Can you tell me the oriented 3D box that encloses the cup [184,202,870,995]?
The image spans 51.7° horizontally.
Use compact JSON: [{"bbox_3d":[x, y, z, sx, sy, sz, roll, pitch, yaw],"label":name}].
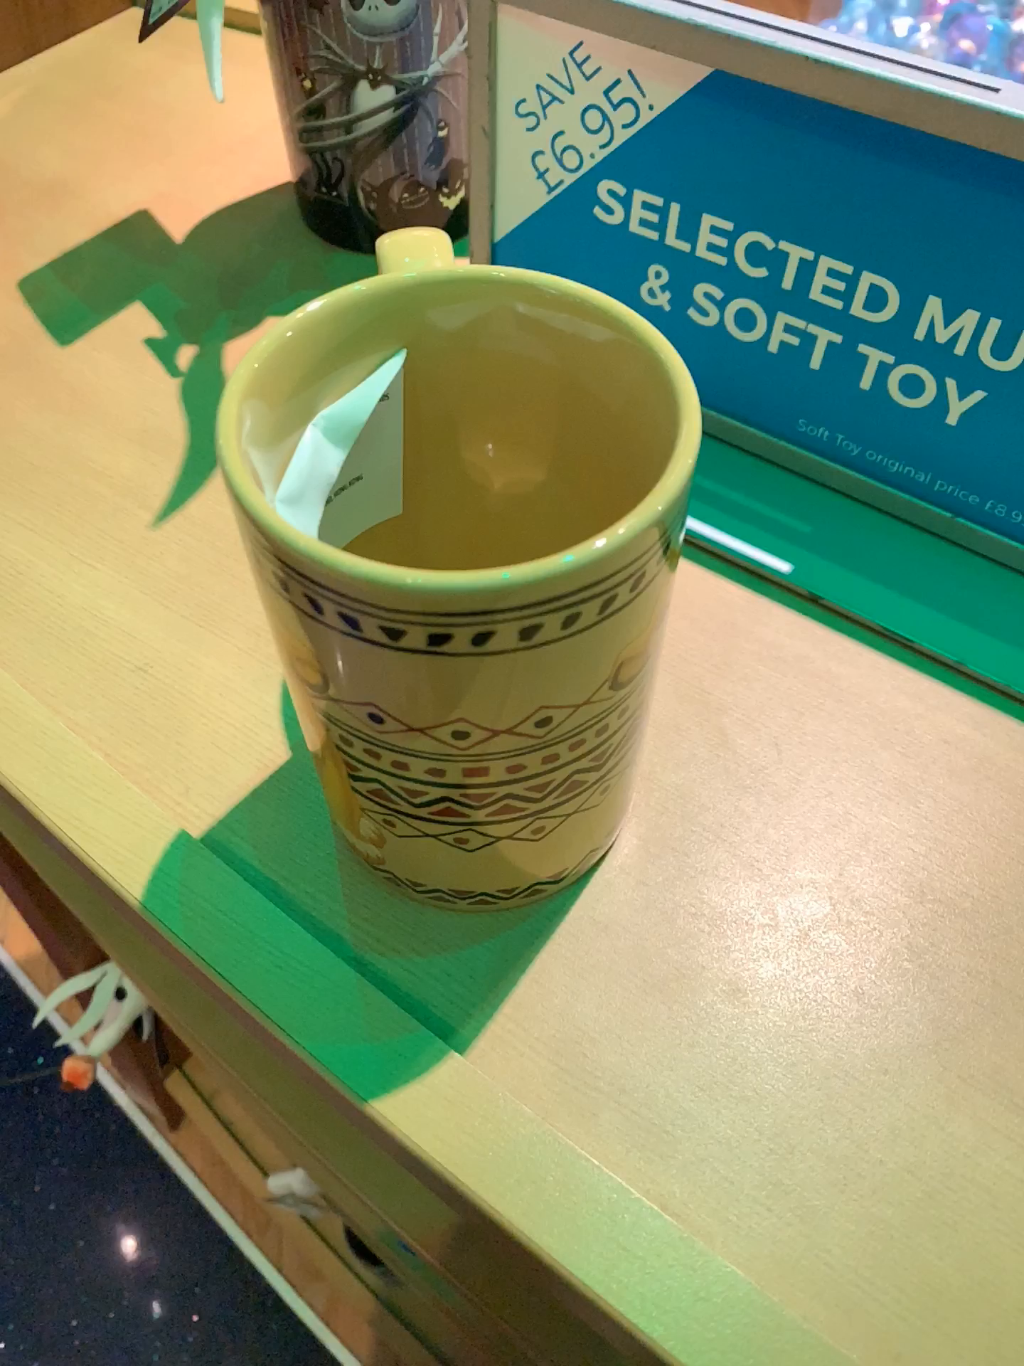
[{"bbox_3d":[-0.009,-0.018,0.246,0.100,0.121,0.120,-10,54,-12],"label":"cup"}]
